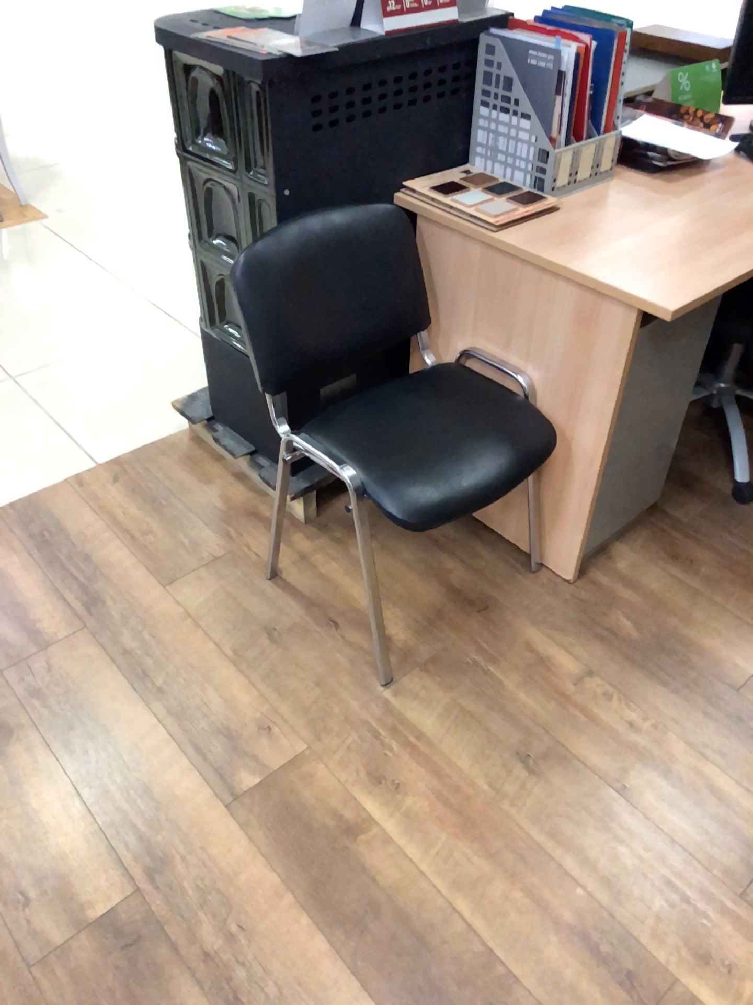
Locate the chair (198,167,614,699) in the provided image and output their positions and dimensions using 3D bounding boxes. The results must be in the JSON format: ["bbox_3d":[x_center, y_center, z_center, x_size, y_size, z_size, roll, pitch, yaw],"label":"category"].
[{"bbox_3d":[0.052,-0.153,1.769,0.582,0.856,0.481,-30,49,-32],"label":"chair"}]
